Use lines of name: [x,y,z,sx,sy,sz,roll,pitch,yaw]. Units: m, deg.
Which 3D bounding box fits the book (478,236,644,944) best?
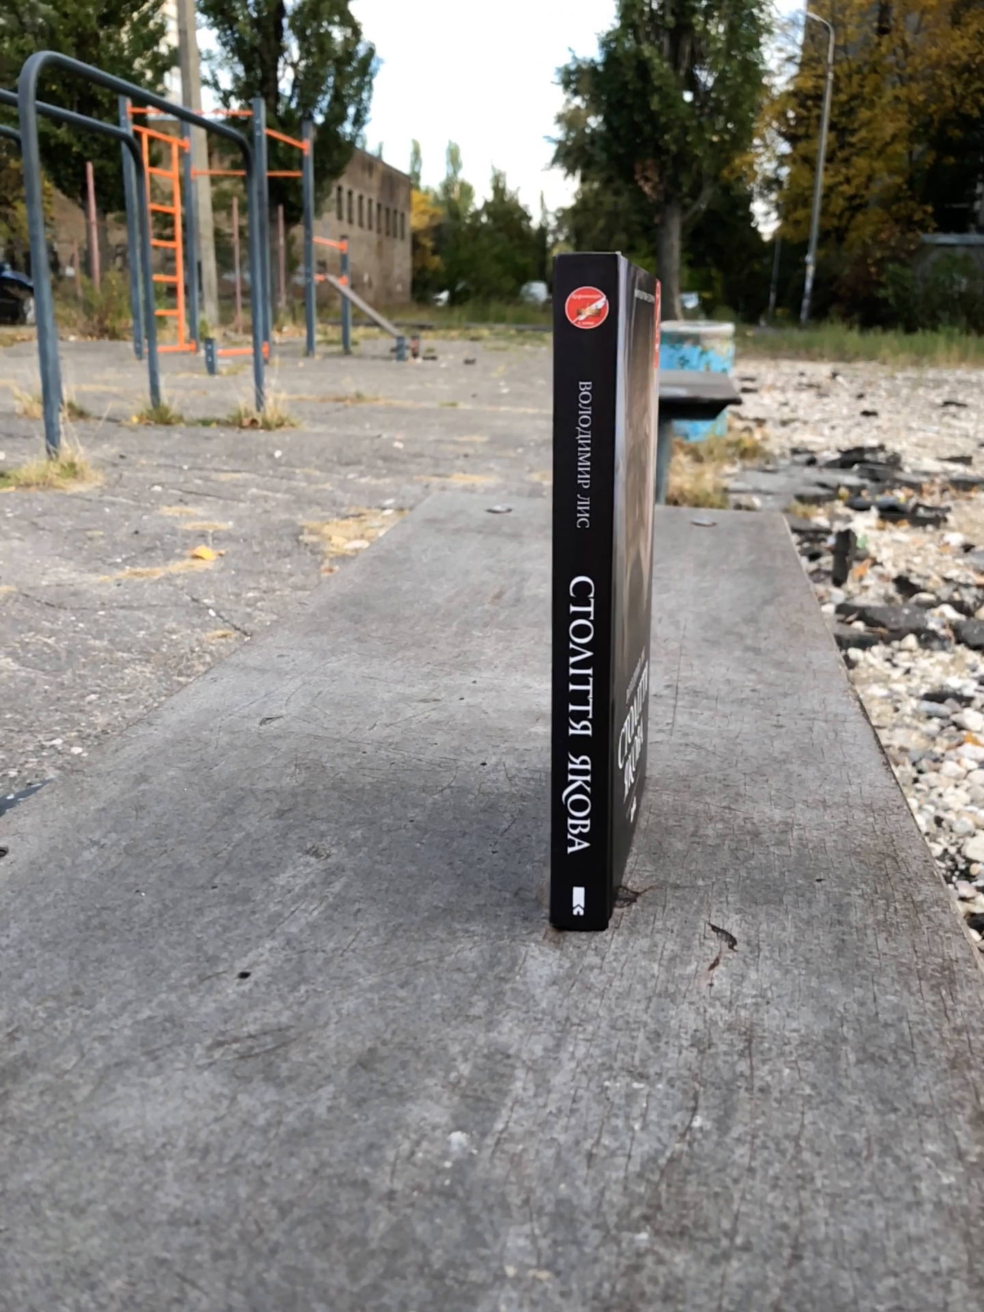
book: [0.030,-0.031,0.386,0.030,0.212,0.141,3,16,14]
